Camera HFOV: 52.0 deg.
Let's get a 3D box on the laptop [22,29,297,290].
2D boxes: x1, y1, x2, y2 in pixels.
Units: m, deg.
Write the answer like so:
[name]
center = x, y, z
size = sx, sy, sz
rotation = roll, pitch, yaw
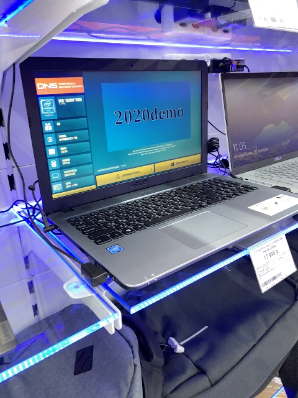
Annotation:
[laptop]
center = 0.051, -0.096, 0.472
size = 0.372, 0.232, 0.263
rotation = -16, 24, -34
